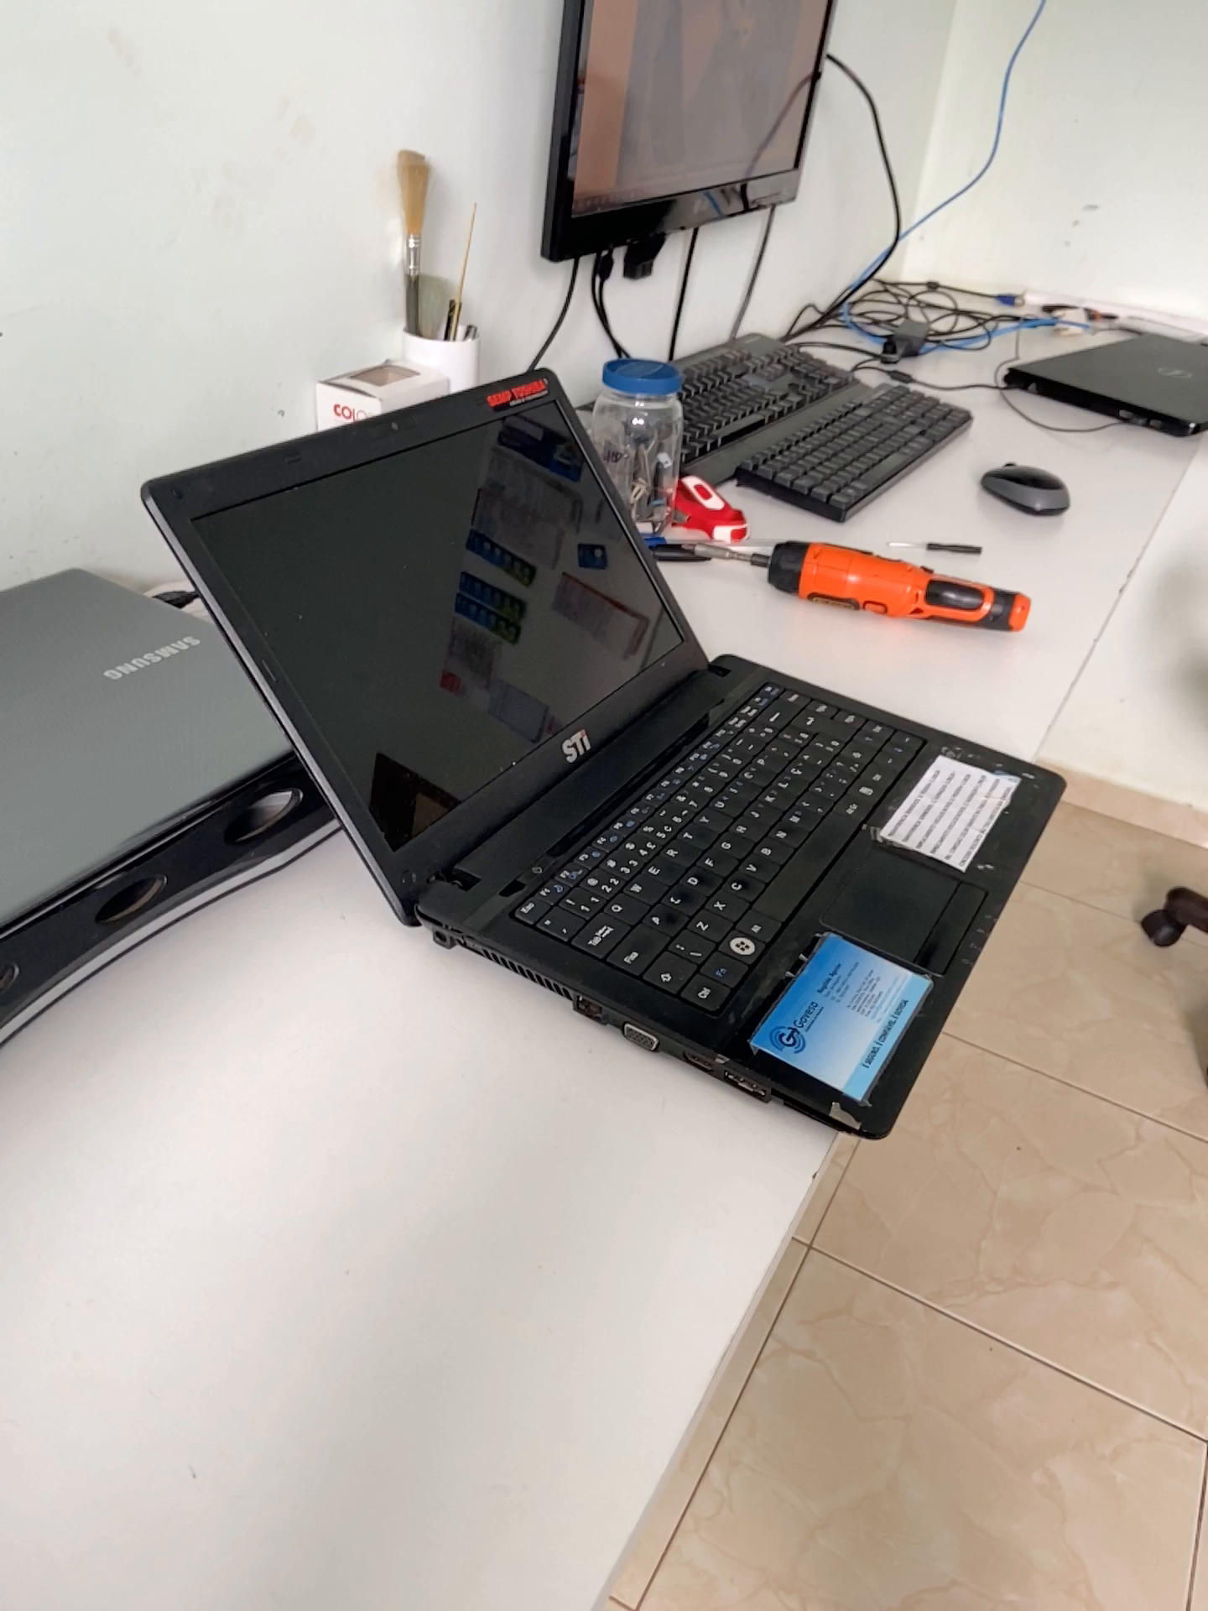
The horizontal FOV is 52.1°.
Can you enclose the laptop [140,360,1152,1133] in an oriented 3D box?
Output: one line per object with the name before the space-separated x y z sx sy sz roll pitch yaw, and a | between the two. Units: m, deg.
laptop | 0.036 -0.079 0.643 0.384 0.159 0.336 22 36 22
